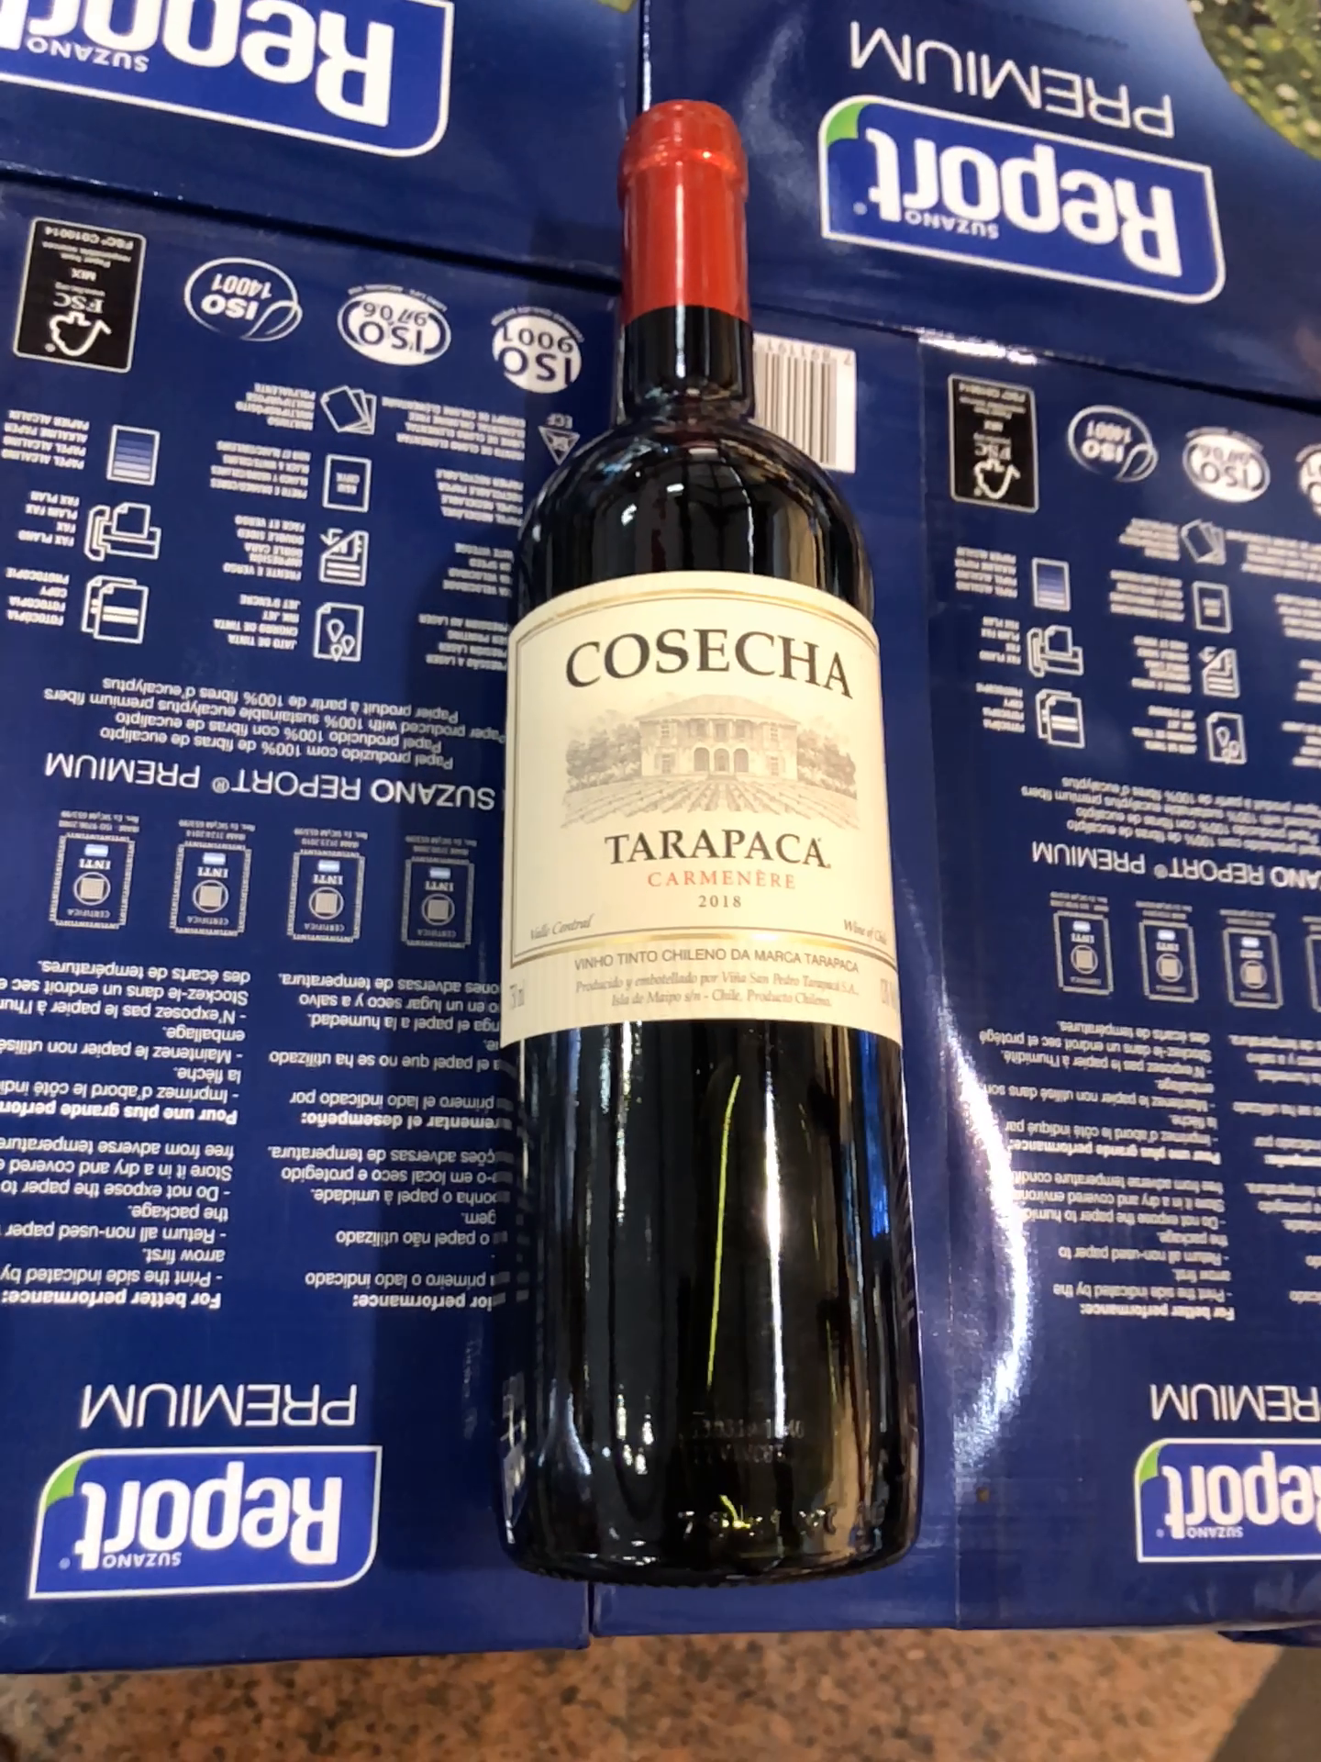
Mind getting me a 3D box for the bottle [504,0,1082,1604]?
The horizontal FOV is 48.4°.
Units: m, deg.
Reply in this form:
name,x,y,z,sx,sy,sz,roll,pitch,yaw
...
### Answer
name,x,y,z,sx,sy,sz,roll,pitch,yaw
bottle,0.014,-0.047,0.291,0.080,0.060,0.330,3,73,-14
